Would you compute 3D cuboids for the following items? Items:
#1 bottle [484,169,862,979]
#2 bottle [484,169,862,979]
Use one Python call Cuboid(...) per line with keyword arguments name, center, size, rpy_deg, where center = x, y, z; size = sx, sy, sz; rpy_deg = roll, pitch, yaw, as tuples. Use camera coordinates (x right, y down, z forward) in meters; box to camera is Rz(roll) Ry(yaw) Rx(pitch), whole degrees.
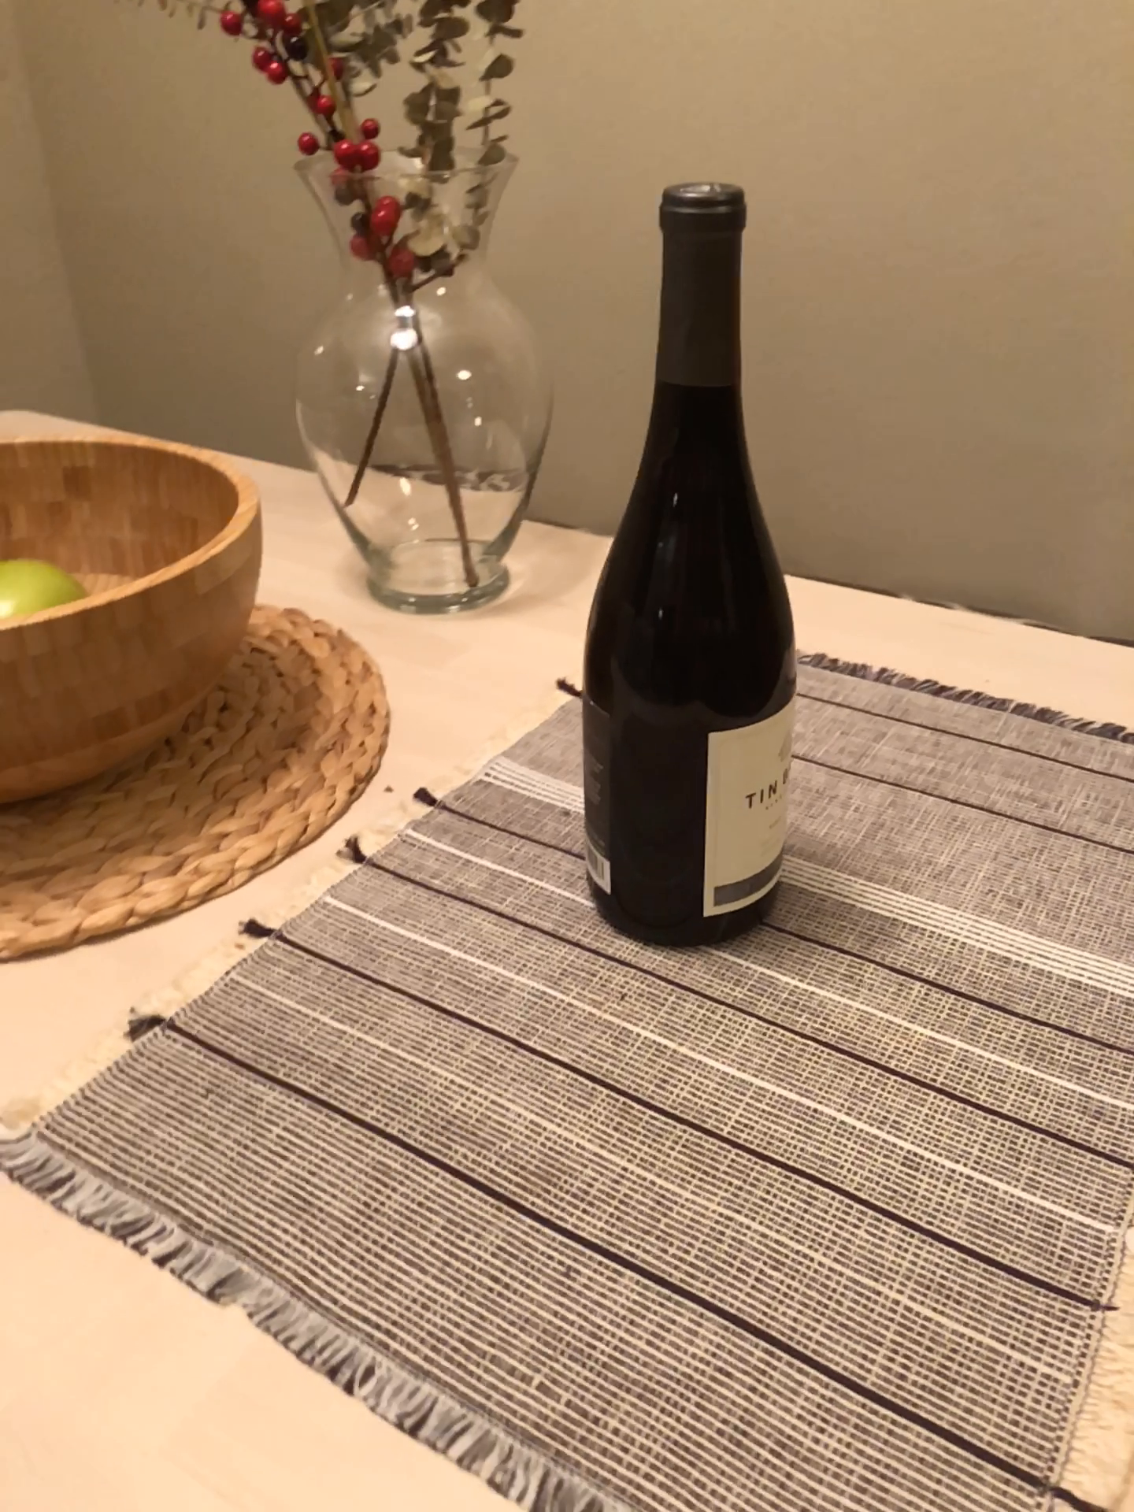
Cuboid(name="bottle", center=(0.041, -0.066, 0.489), size=(0.100, 0.288, 0.091), rpy_deg=(12, 33, 22))
Cuboid(name="bottle", center=(0.041, -0.066, 0.489), size=(0.100, 0.288, 0.091), rpy_deg=(12, 33, 22))
